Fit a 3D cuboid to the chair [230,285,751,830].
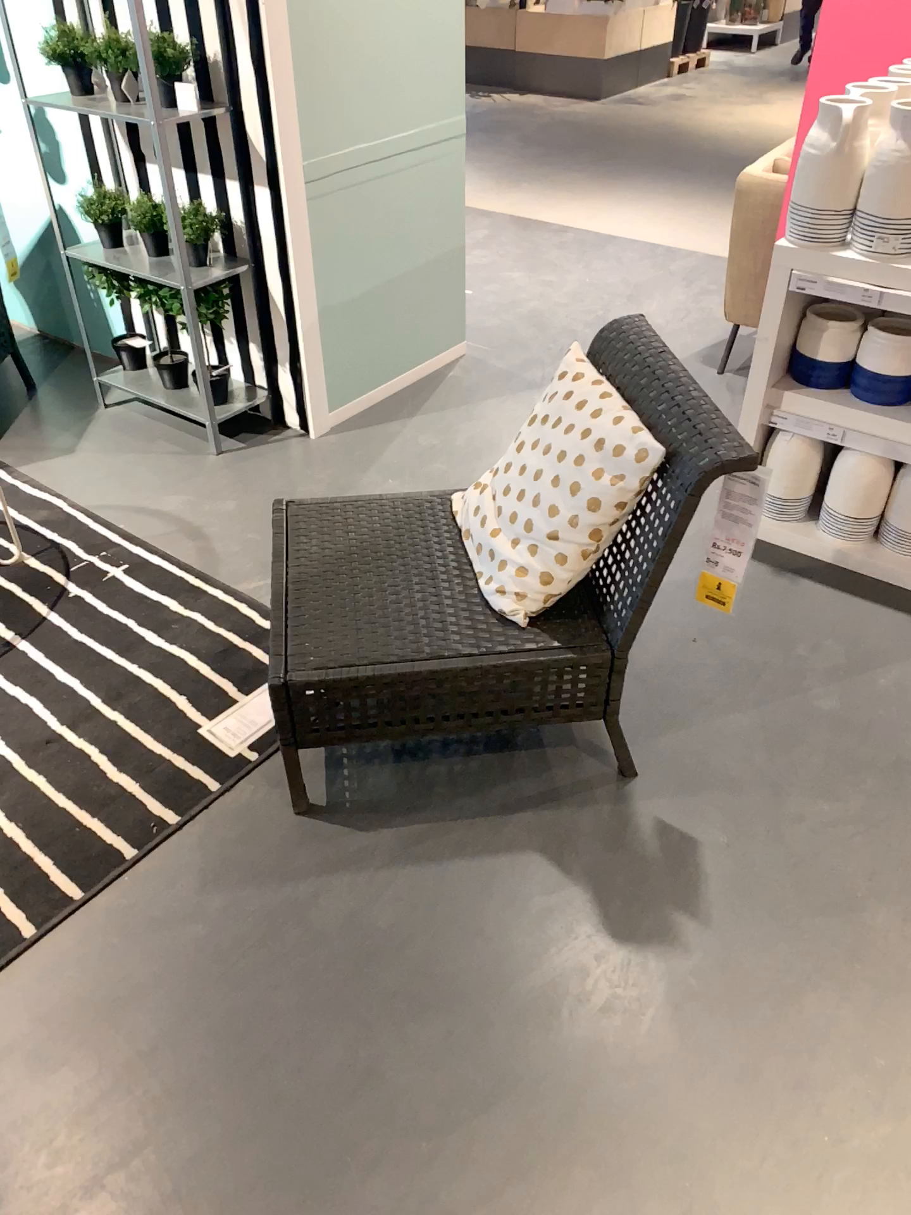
[{"bbox_3d":[0.021,-0.124,1.886,0.780,0.797,0.703,-5,38,-5],"label":"chair"}]
